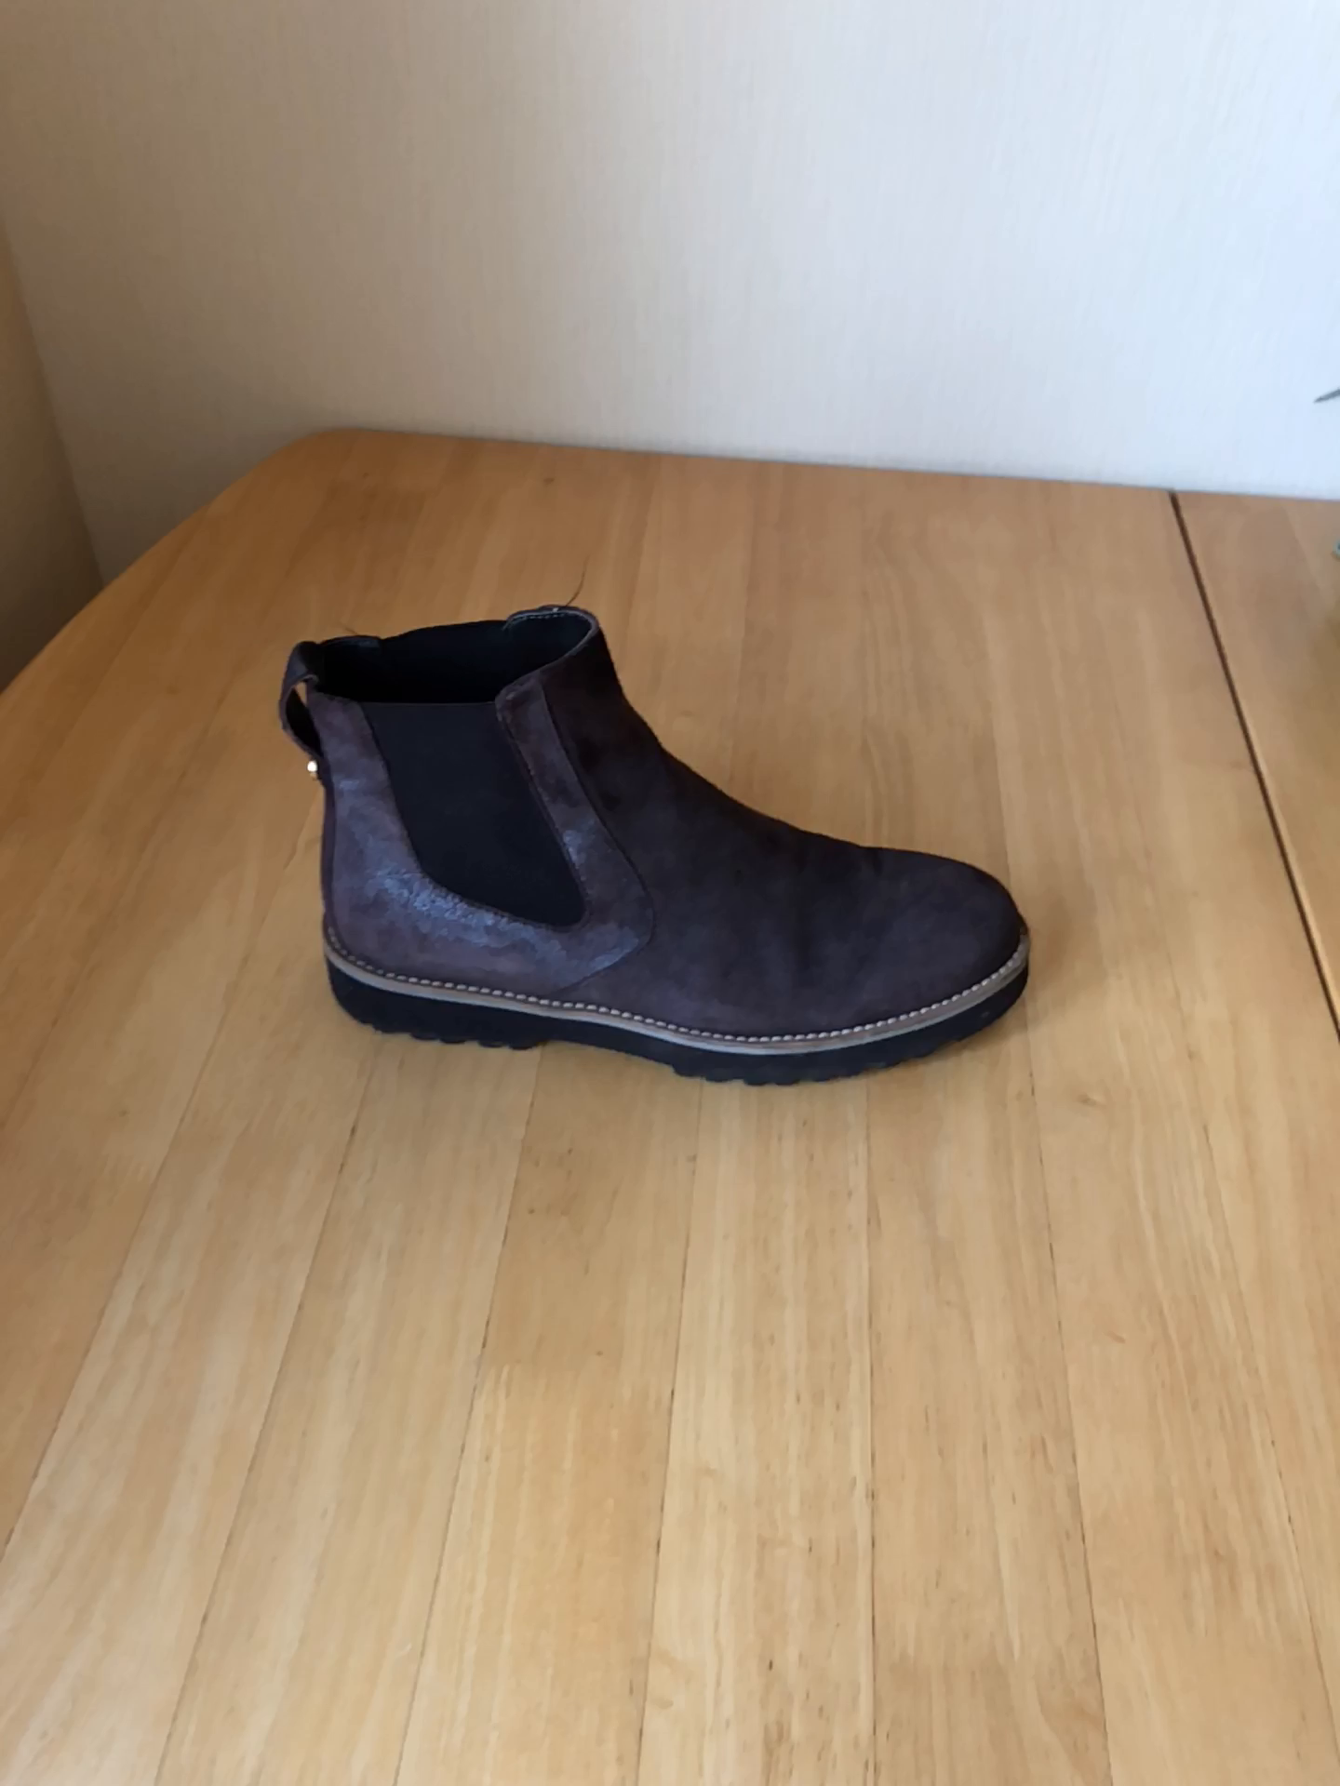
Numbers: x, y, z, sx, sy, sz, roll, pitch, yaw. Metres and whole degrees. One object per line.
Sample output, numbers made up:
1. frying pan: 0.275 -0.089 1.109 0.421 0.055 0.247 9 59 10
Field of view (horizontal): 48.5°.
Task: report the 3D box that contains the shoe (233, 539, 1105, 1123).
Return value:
1. shoe: 0.002 -0.020 0.450 0.220 0.120 0.100 6 43 4
